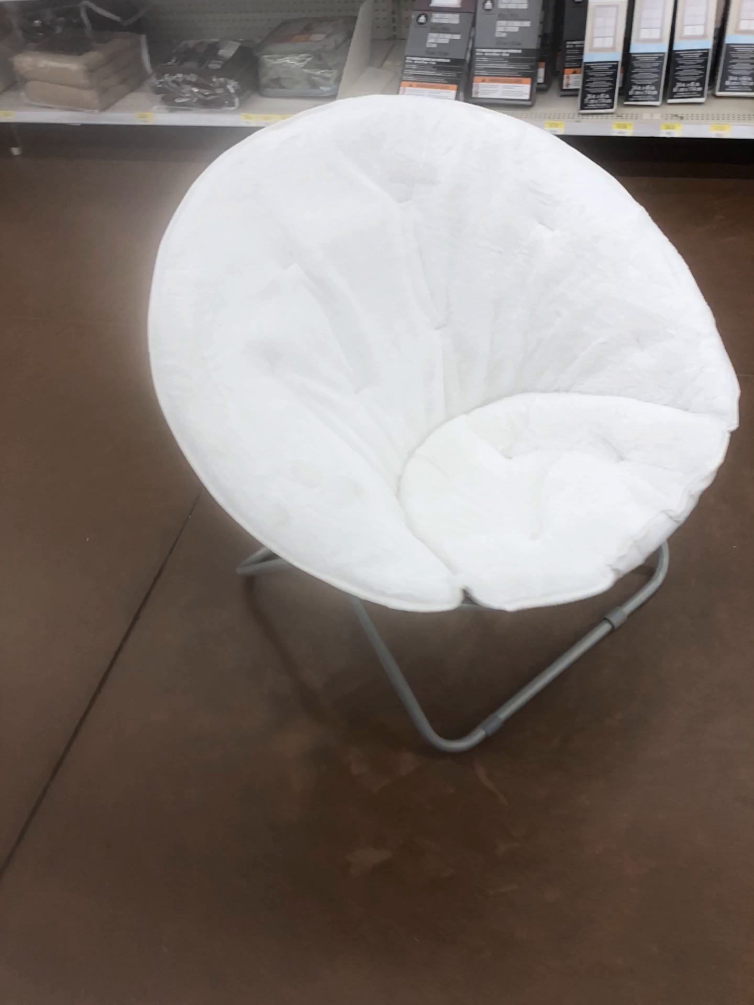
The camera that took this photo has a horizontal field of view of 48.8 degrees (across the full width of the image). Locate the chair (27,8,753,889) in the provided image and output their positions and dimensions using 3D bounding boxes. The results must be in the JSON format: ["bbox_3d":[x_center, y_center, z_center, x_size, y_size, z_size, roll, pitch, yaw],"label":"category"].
[{"bbox_3d":[0.146,-0.142,1.137,0.761,0.648,0.752,-33,51,-22],"label":"chair"}]
